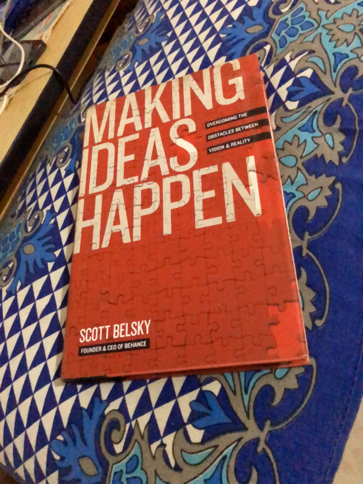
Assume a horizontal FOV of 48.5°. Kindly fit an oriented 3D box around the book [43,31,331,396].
[{"bbox_3d":[-0.003,-0.031,0.286,0.160,0.030,0.250,-12,59,18],"label":"book"}]
